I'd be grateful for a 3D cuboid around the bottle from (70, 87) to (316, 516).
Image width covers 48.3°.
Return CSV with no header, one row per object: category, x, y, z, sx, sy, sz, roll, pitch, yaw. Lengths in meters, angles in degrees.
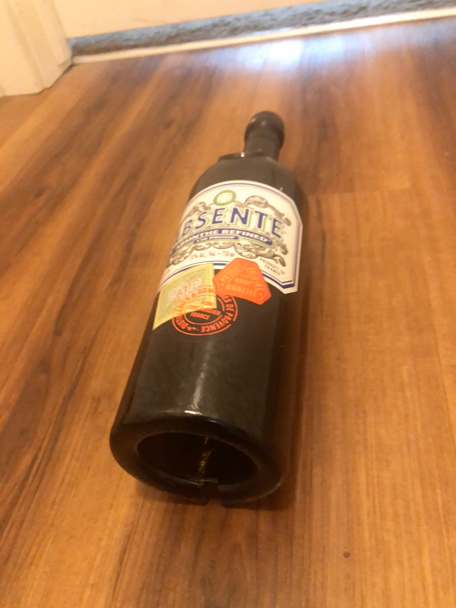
bottle,0.007,-0.035,0.318,0.080,0.070,0.301,-1,44,14
